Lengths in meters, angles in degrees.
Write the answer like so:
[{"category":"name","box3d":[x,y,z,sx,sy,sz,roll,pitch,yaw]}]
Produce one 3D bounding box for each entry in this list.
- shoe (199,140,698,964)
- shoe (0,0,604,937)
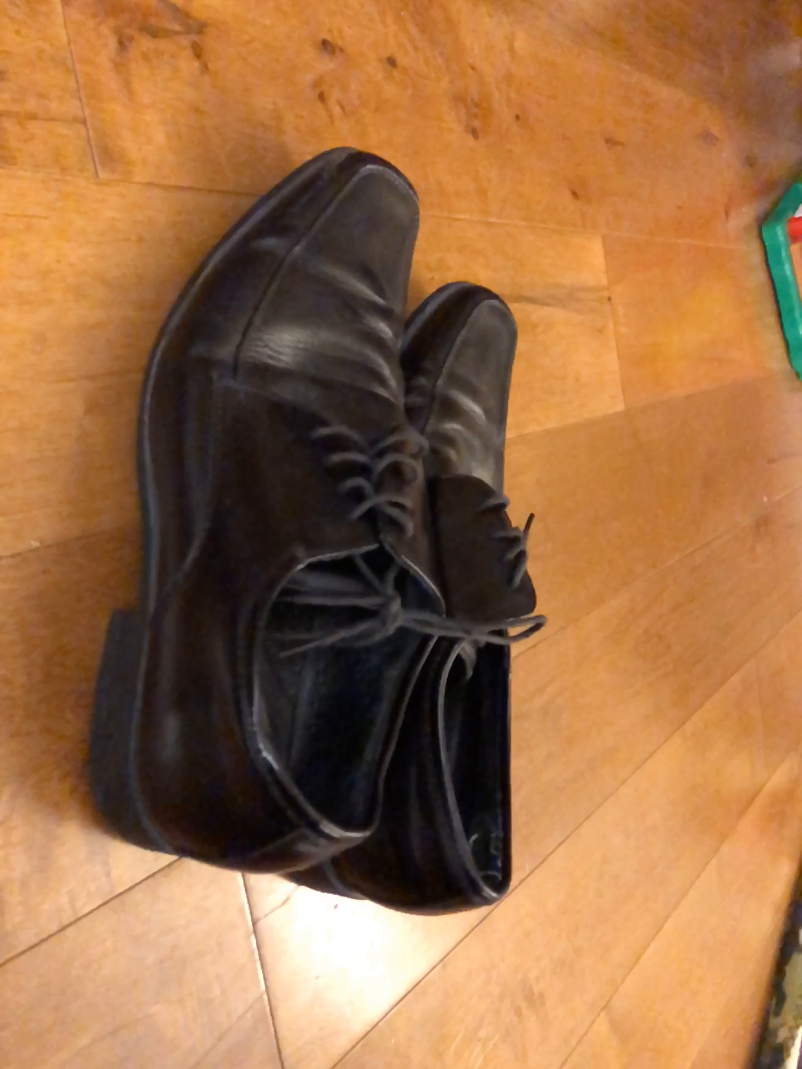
[{"category":"shoe","box3d":[0.034,0.006,0.393,0.110,0.129,0.310,30,65,-45]},{"category":"shoe","box3d":[-0.029,-0.036,0.324,0.110,0.129,0.310,30,65,-45]}]
